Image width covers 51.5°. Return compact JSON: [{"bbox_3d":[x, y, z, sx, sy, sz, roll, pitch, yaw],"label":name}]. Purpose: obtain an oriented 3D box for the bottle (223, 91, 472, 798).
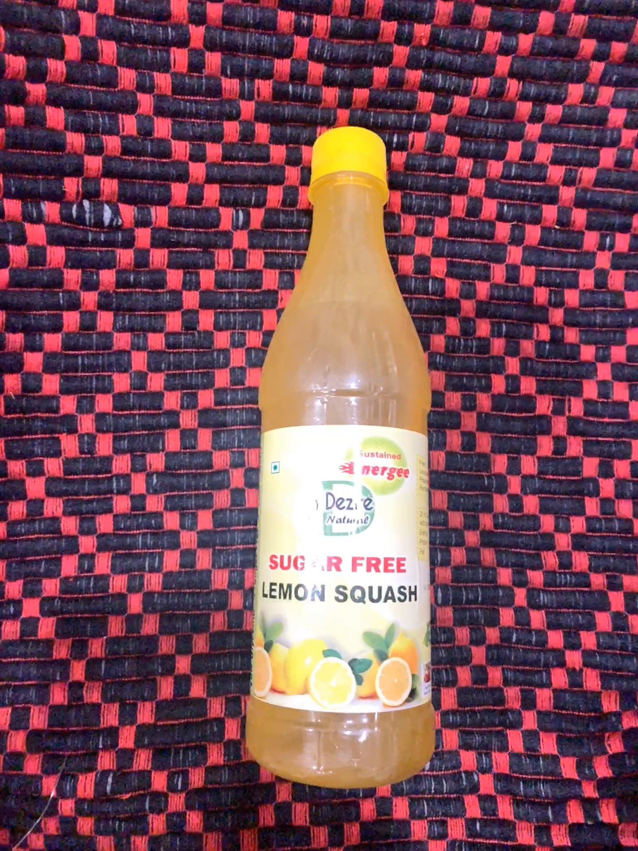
[{"bbox_3d":[0.007,-0.001,0.242,0.070,0.060,0.230,2,75,-6],"label":"bottle"}]
